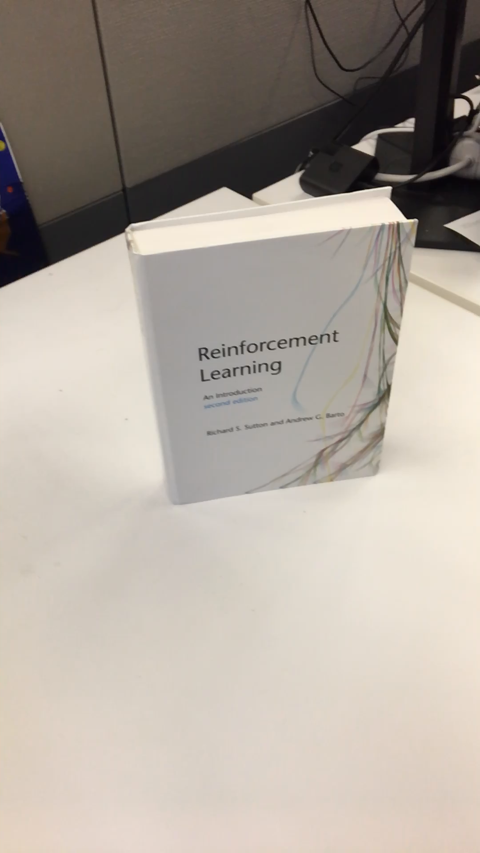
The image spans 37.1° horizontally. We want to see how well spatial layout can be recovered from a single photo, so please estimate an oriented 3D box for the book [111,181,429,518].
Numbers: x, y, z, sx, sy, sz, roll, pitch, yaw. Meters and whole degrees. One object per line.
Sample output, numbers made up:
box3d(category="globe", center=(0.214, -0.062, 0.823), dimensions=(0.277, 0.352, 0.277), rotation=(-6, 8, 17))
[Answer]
box3d(category="book", center=(0.020, -0.041, 0.504), dimensions=(0.180, 0.230, 0.050), rotation=(-10, 46, -7))
